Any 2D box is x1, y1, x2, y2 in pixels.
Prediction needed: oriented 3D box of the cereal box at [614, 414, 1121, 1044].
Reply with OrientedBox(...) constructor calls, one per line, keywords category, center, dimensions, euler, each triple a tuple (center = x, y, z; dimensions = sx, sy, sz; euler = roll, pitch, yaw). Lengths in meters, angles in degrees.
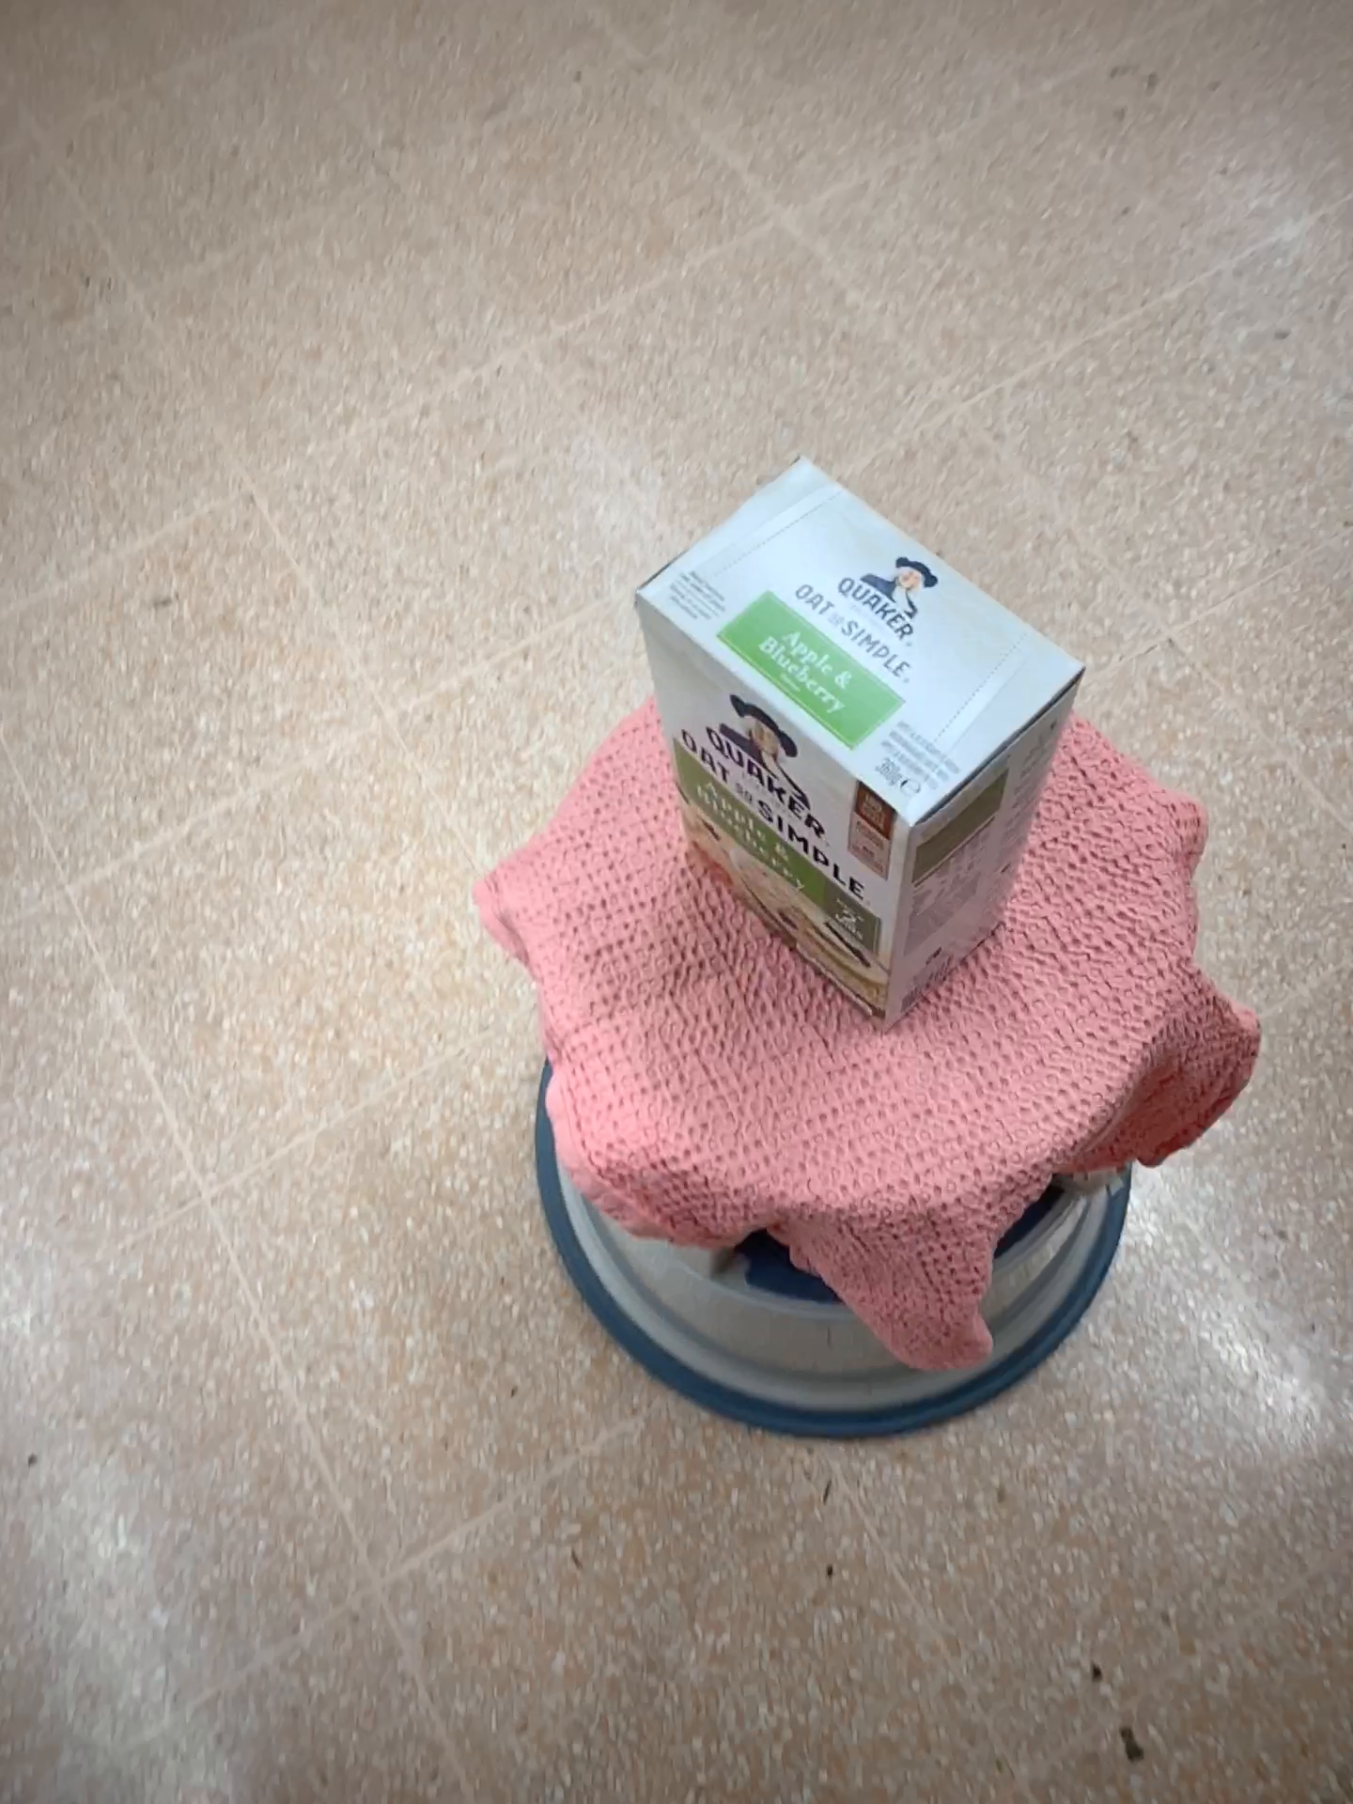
OrientedBox(category="cereal box", center=(0.069, -0.054, 0.542), dimensions=(0.090, 0.209, 0.140), euler=(-42, 69, -12))
